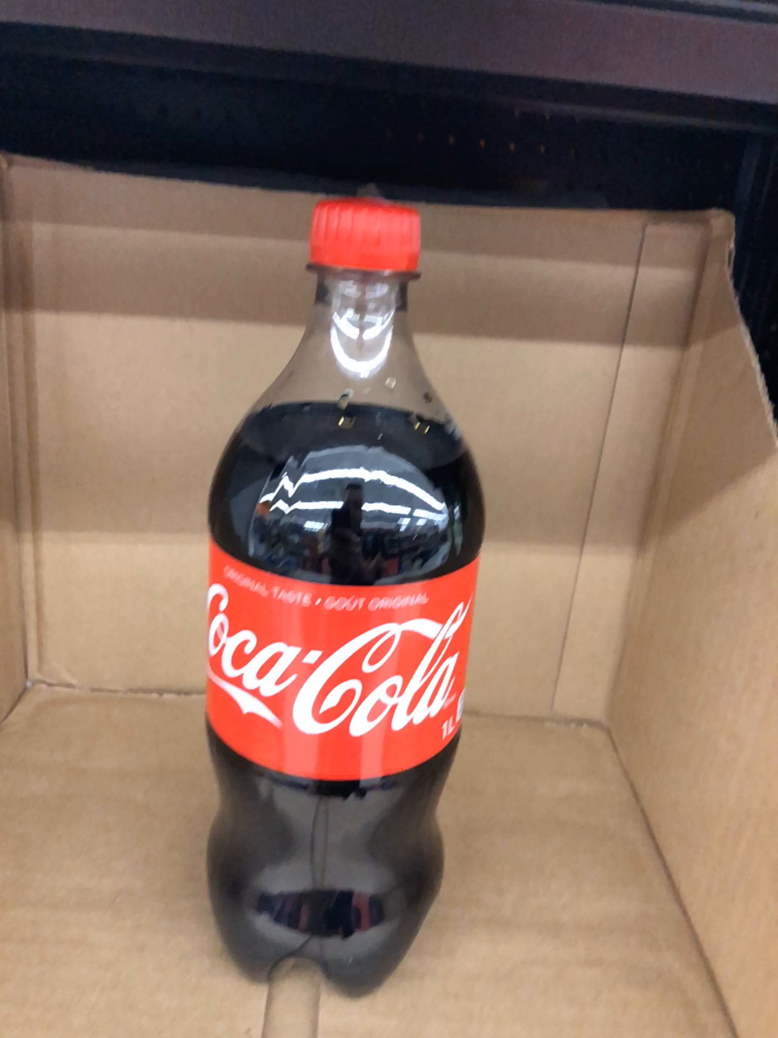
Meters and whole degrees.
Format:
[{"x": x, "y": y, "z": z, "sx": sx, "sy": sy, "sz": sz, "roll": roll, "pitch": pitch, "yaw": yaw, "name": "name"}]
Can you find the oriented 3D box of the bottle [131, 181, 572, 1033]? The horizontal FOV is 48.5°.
[{"x": -0.014, "y": 0.029, "z": 0.281, "sx": 0.100, "sy": 0.248, "sz": 0.091, "roll": 8, "pitch": 23, "yaw": 6, "name": "bottle"}]
